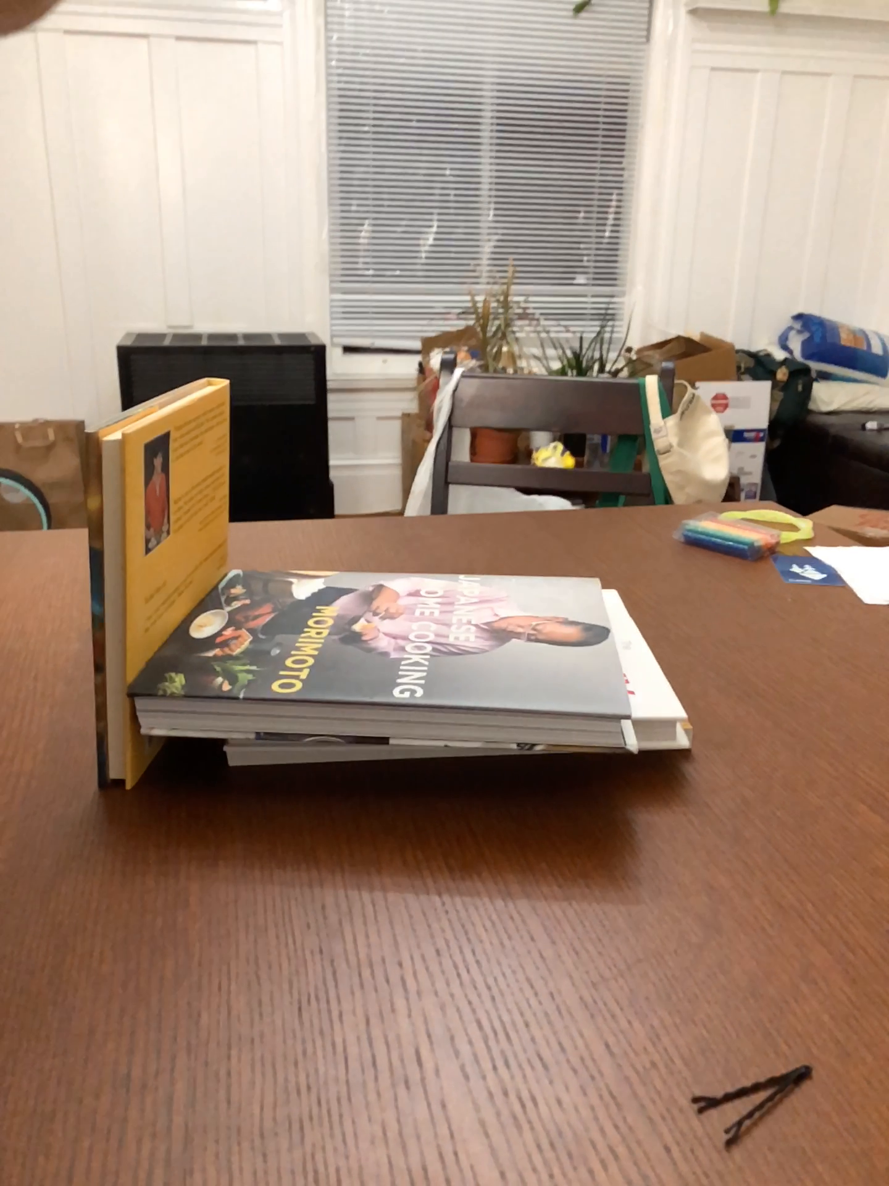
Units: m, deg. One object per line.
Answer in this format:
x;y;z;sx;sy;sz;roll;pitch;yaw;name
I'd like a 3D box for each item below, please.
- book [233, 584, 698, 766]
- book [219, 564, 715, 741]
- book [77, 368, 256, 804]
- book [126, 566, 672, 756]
0.006;0.048;0.693;0.280;0.030;0.221;-2;19;-5;book
0.009;0.030;0.660;0.280;0.030;0.221;-1;19;-3;book
-0.161;-0.019;0.608;0.030;0.209;0.211;5;20;3;book
-0.020;0.032;0.608;0.280;0.030;0.221;1;19;2;book
